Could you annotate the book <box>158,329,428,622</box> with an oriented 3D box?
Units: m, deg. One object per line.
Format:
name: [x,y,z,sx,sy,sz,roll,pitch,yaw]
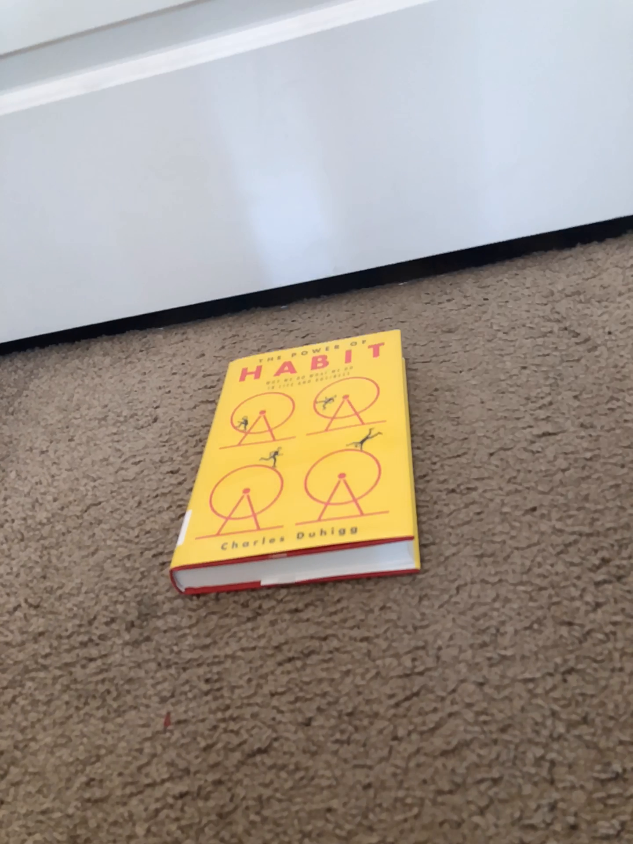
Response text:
book: [-0.007,0.026,0.529,0.164,0.040,0.252,-10,37,12]
